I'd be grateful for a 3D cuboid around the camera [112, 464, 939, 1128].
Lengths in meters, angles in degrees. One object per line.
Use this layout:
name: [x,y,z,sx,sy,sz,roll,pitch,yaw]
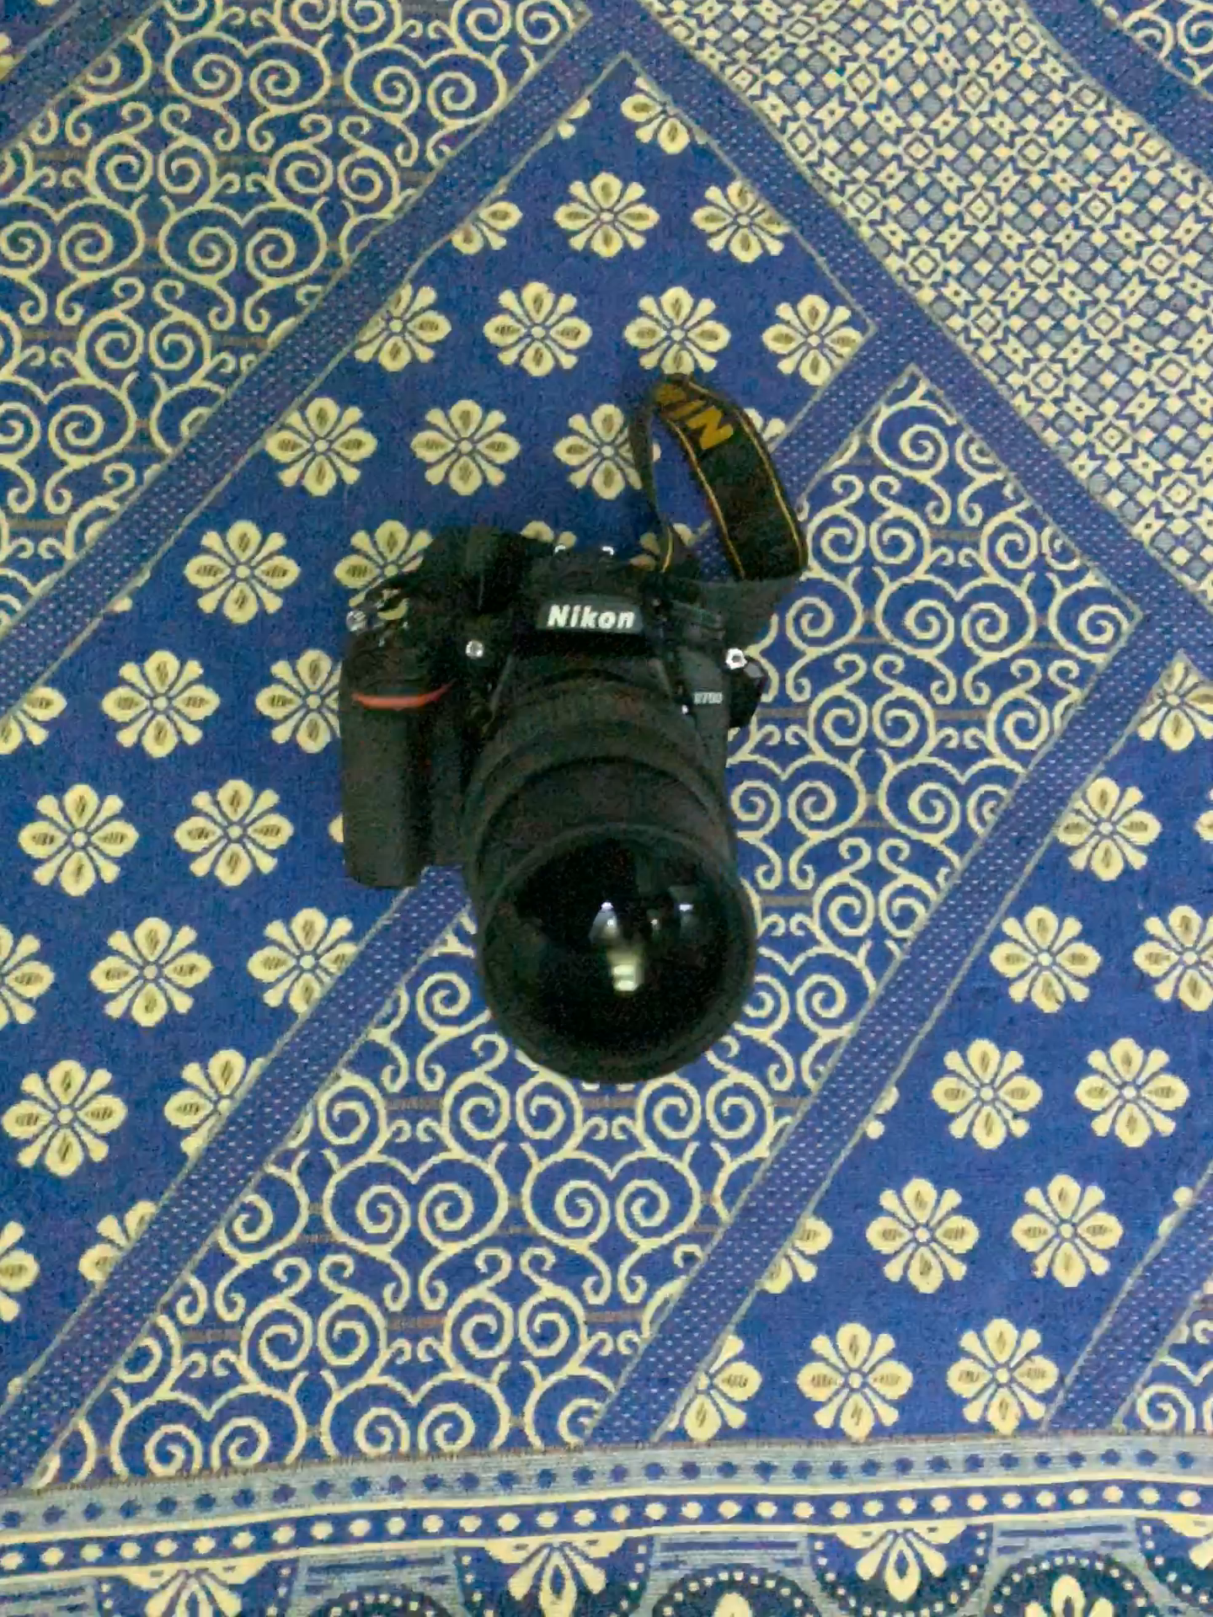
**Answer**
camera: [-0.023,-0.011,0.342,0.160,0.191,0.130,1,97,-5]
